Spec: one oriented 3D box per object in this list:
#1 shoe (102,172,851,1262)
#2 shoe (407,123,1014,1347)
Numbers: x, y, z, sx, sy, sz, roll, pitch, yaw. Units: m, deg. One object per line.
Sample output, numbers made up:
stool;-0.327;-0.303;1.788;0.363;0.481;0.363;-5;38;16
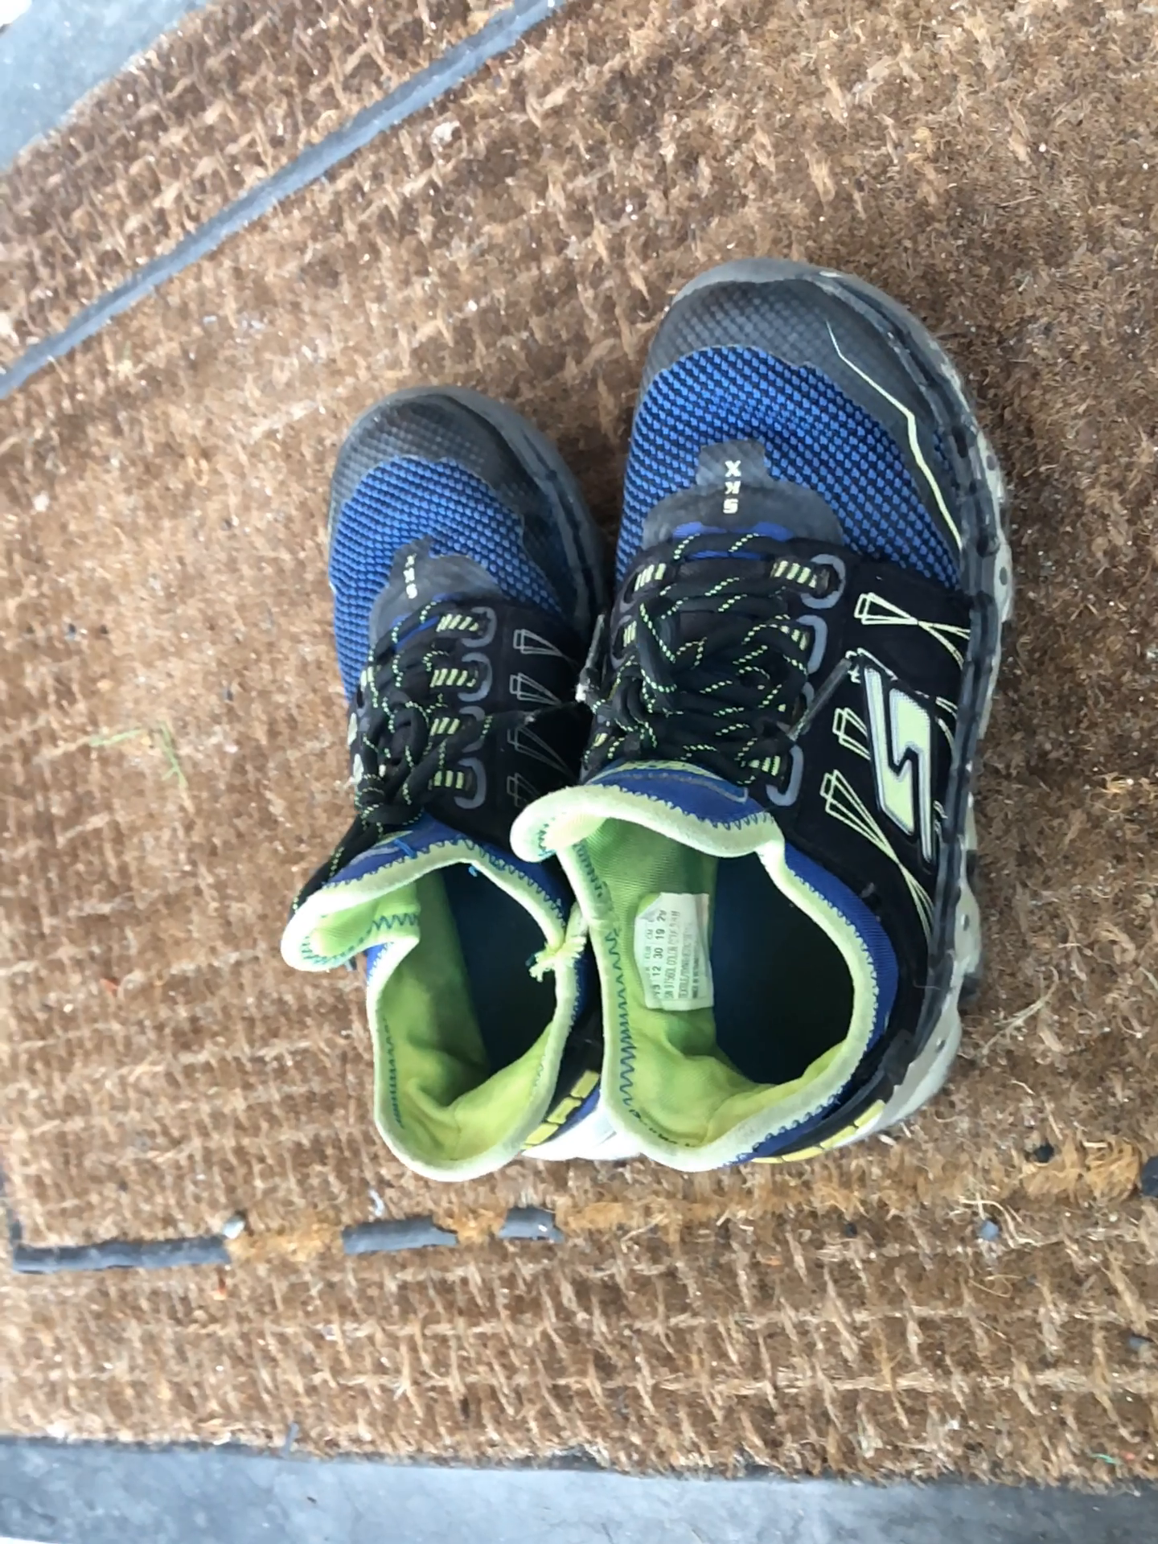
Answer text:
shoe;-0.026;-0.012;0.333;0.090;0.100;0.230;-22;81;32
shoe;0.030;-0.008;0.276;0.090;0.100;0.200;4;95;33
